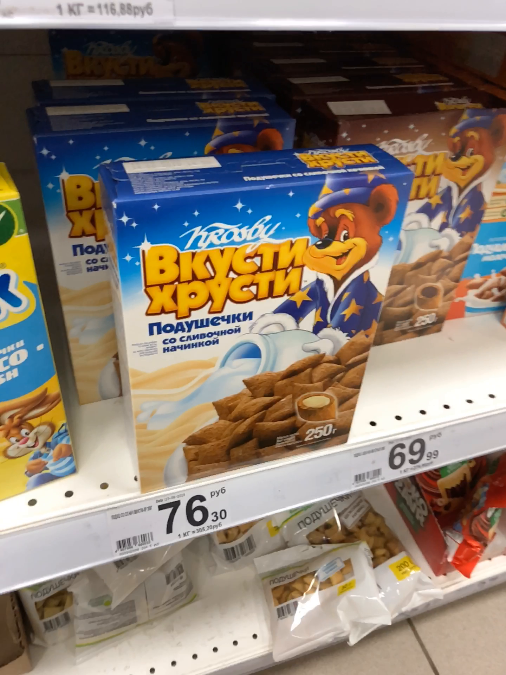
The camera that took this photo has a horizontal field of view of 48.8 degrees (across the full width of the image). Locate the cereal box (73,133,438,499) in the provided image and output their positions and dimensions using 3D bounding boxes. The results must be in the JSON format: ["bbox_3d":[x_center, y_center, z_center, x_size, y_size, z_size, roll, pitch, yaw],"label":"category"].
[{"bbox_3d":[-0.003,-0.006,0.370,0.190,0.229,0.050,-10,41,-18],"label":"cereal box"}]
